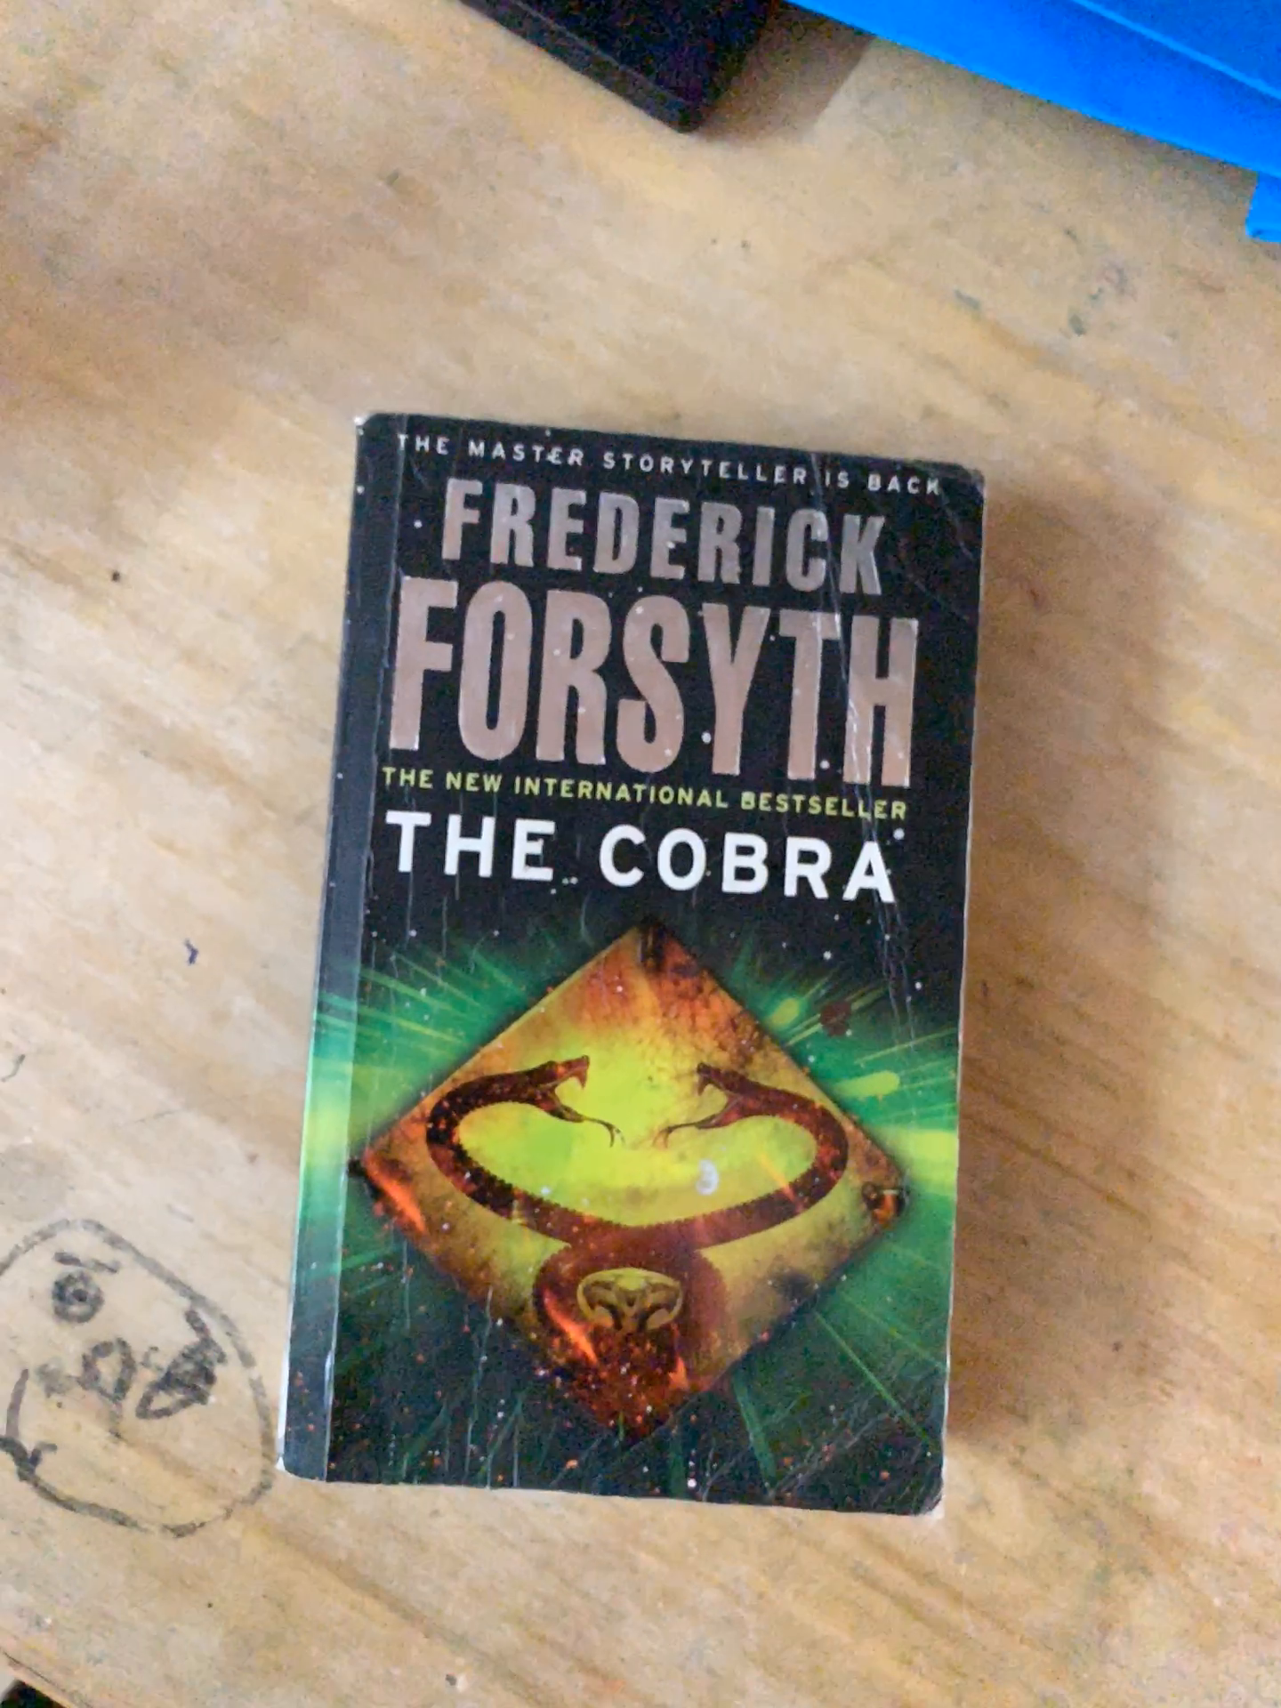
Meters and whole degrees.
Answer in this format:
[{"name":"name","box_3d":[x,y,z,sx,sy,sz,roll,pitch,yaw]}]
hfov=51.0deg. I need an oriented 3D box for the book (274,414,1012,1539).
[{"name":"book","box_3d":[0.002,0.018,0.218,0.100,0.040,0.160,4,86,-3]}]
